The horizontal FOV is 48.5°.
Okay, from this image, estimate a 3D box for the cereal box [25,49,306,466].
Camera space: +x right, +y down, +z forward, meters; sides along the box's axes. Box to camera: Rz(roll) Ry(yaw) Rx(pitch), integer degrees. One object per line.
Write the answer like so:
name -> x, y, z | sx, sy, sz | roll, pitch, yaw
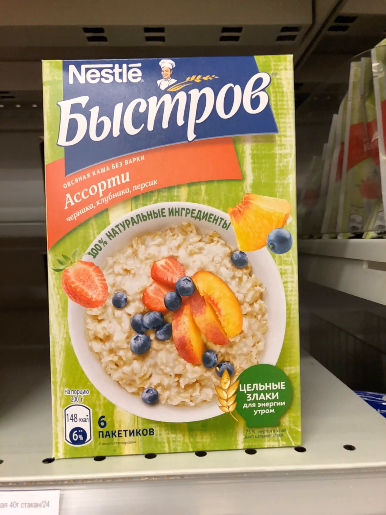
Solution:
cereal box -> -0.013, -0.001, 0.235 | 0.130, 0.200, 0.050 | -2, 1, -2
